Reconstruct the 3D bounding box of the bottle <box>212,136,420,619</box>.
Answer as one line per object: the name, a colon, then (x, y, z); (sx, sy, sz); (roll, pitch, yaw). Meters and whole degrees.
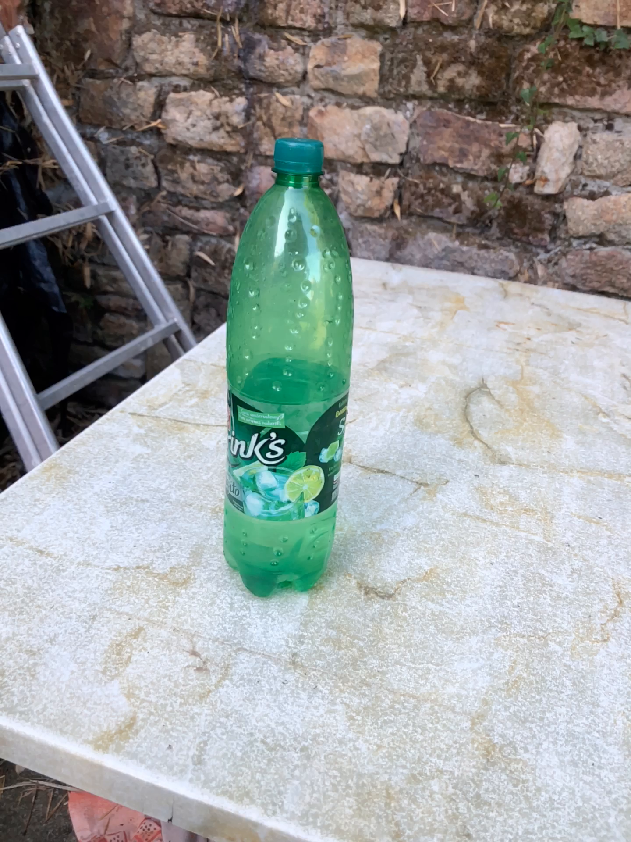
bottle: (-0.011, -0.022, 0.473); (0.090, 0.308, 0.090); (3, 29, -2)
